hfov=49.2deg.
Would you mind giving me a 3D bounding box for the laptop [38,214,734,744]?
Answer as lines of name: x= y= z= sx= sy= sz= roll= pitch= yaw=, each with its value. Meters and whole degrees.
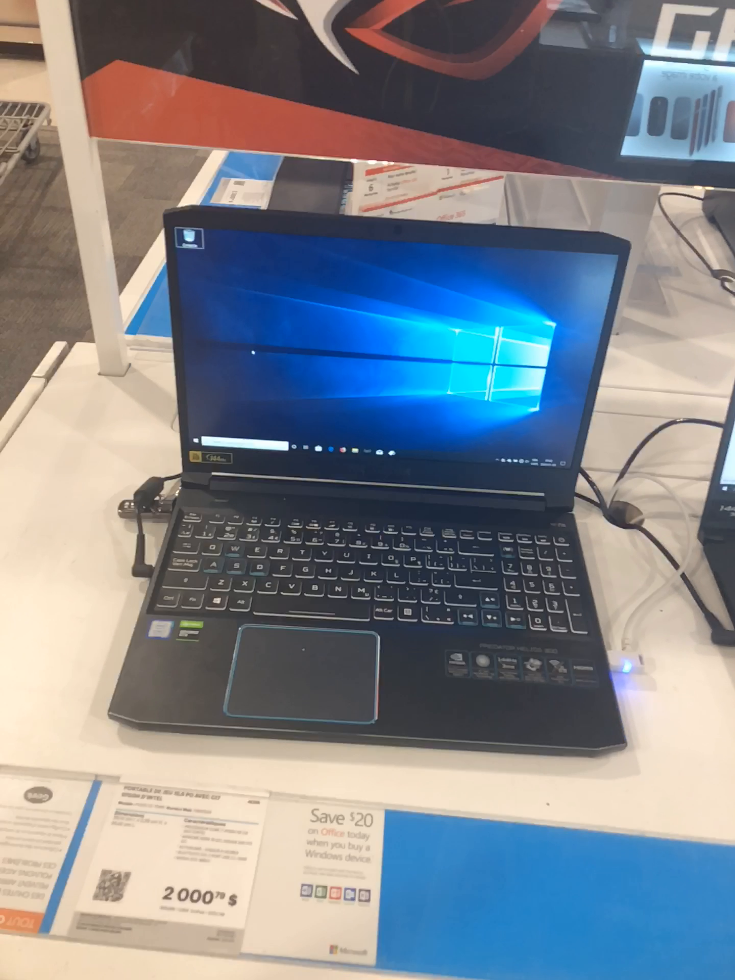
laptop: x=0.013 y=-0.016 z=0.571 sx=0.348 sy=0.230 sz=0.274 roll=4 pitch=42 yaw=0
